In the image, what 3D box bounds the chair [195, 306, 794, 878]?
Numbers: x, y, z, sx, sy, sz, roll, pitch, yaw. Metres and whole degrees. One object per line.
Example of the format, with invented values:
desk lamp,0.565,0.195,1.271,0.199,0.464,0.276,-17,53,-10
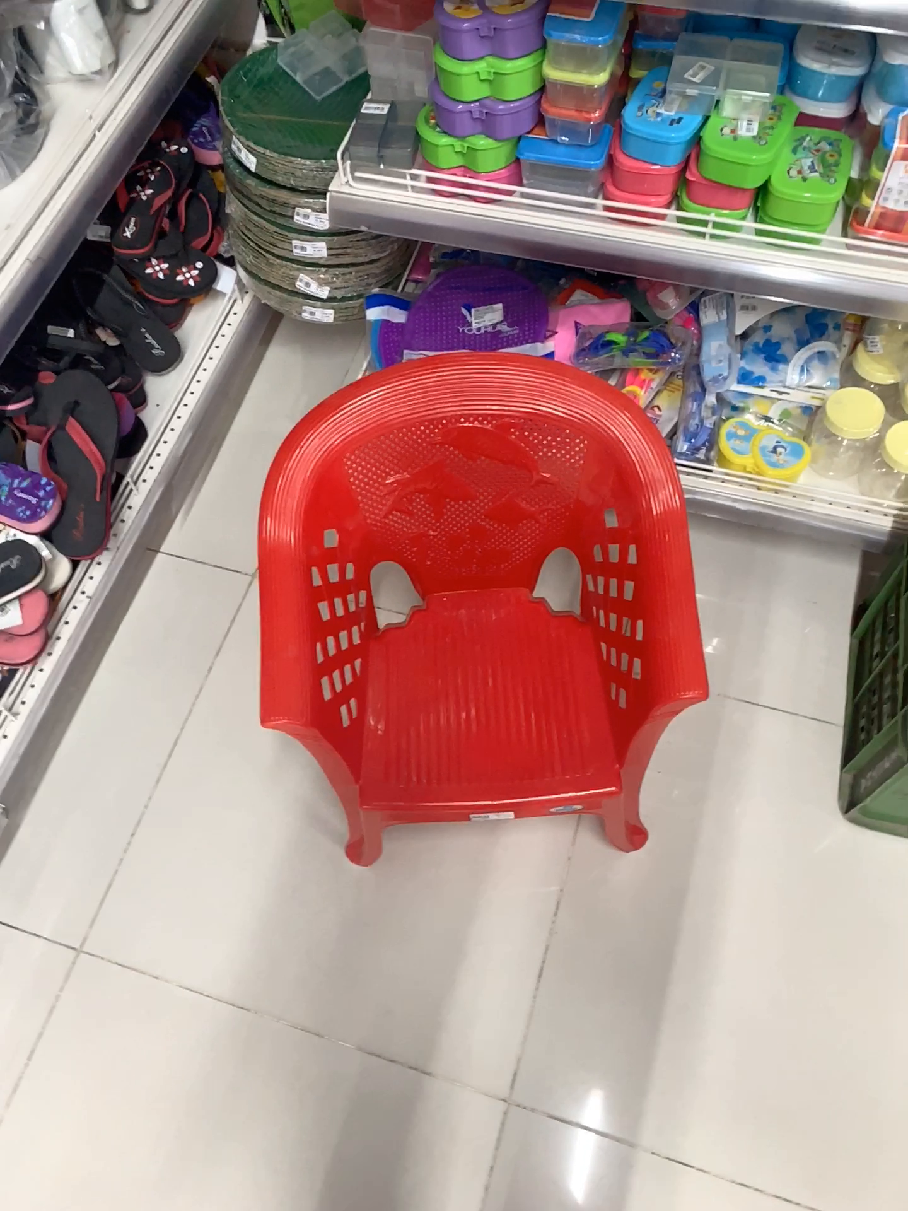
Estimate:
chair,0.043,0.019,1.099,0.500,0.479,0.491,-2,63,3
